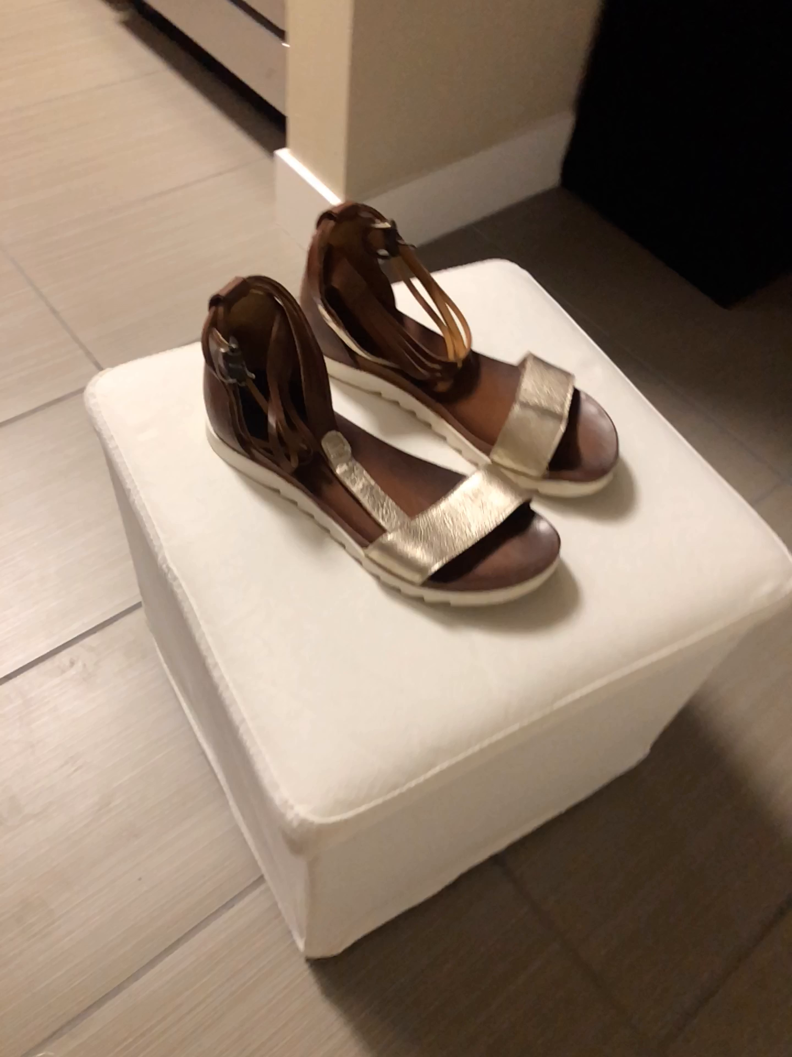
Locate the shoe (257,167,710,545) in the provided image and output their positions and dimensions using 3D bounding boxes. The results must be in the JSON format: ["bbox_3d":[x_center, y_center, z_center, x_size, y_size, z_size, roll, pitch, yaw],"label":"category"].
[{"bbox_3d":[0.047,-0.118,0.569,0.260,0.090,0.110,33,57,16],"label":"shoe"}]

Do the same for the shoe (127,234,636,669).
[{"bbox_3d":[-0.014,-0.052,0.507,0.260,0.090,0.110,33,57,16],"label":"shoe"}]
